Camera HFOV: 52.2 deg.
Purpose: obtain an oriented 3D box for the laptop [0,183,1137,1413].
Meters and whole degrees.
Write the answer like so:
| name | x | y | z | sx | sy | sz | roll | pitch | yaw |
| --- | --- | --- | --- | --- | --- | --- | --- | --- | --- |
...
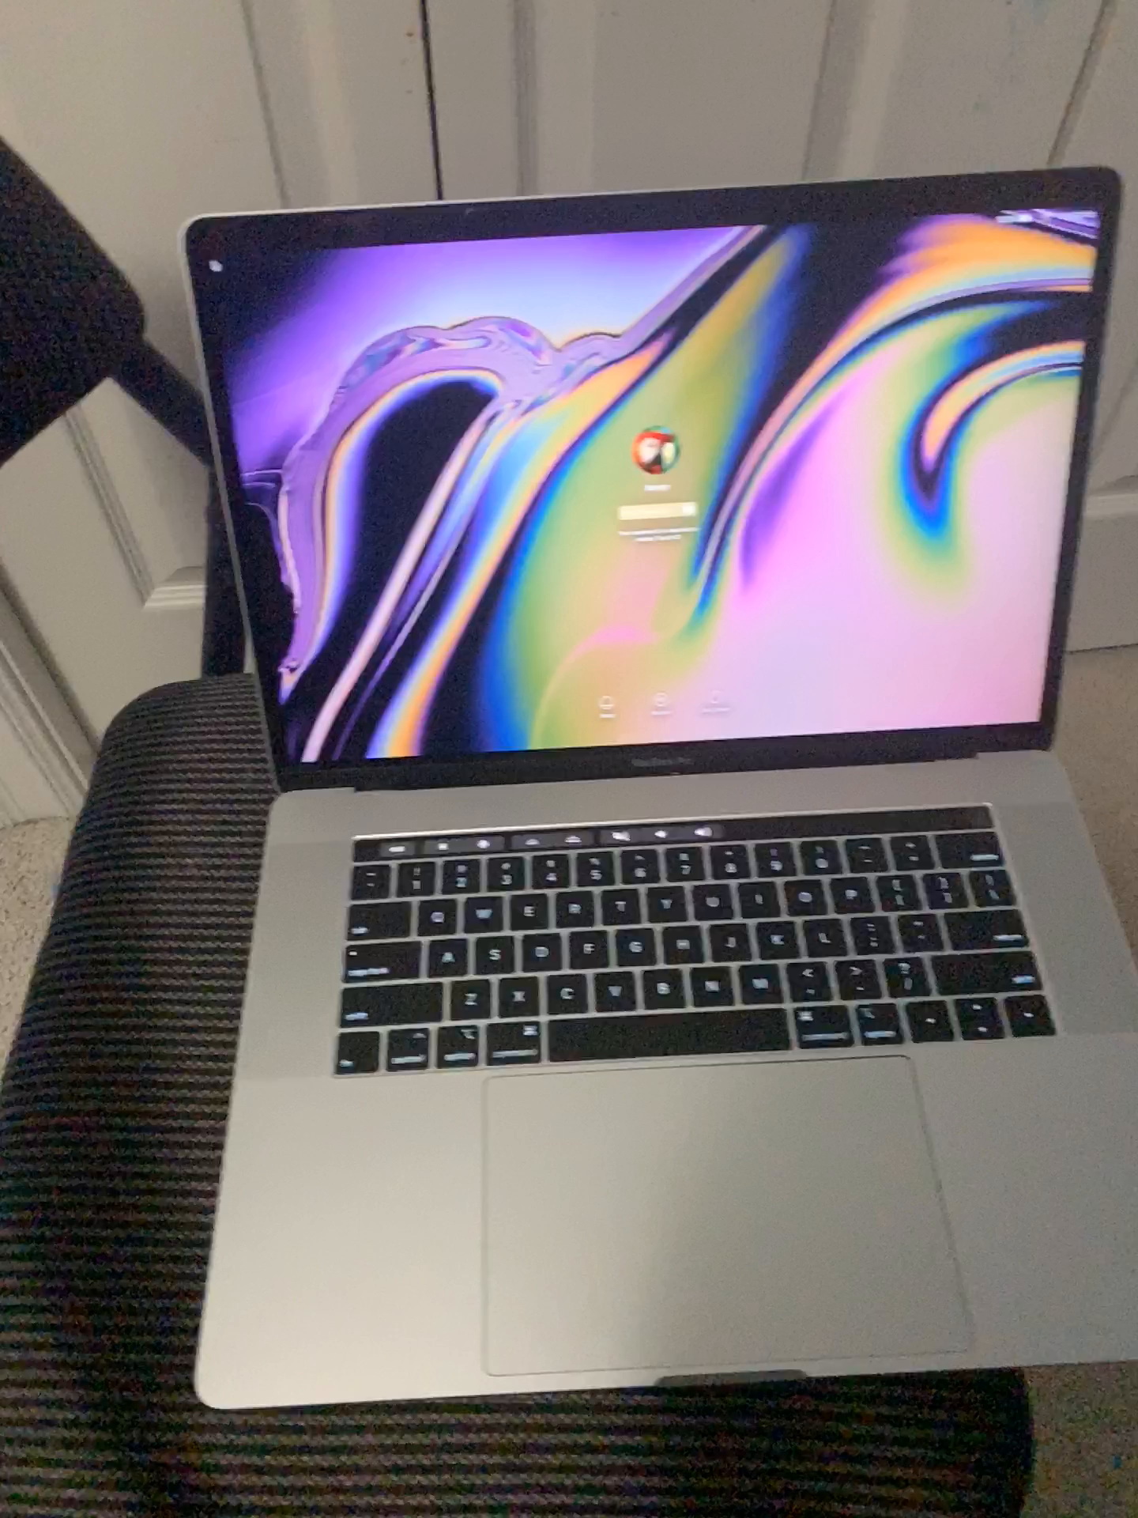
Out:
| name | x | y | z | sx | sy | sz | roll | pitch | yaw |
| --- | --- | --- | --- | --- | --- | --- | --- | --- | --- |
| laptop | 0.027 | 0.000 | 0.393 | 0.342 | 0.195 | 0.353 | -3 | 54 | 0 |
